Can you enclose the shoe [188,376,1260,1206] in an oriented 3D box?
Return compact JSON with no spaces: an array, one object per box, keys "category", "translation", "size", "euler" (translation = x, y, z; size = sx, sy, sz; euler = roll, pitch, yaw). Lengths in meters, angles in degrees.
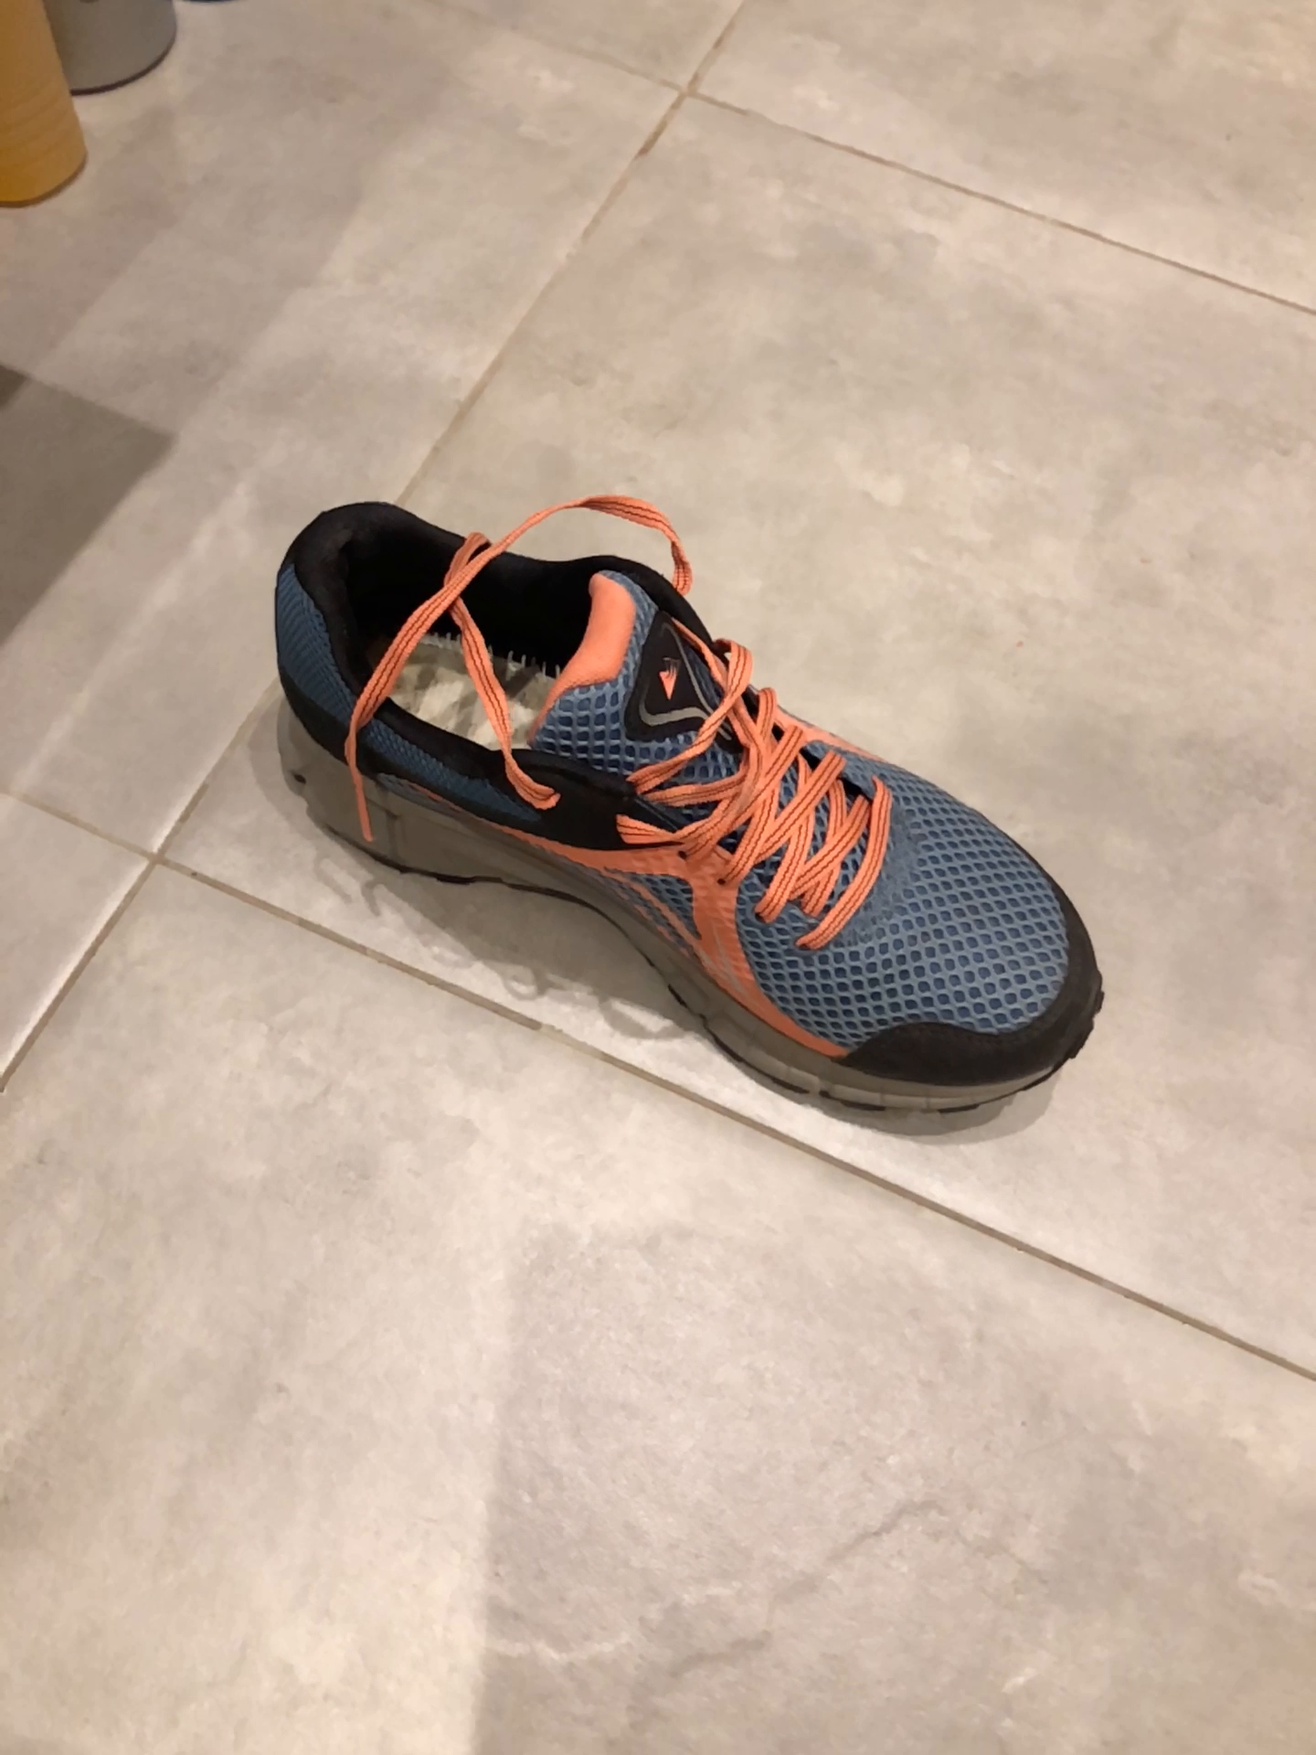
[{"category":"shoe","translation":[0.016,-0.024,0.408],"size":[0.250,0.090,0.110],"euler":[26,65,8]}]
